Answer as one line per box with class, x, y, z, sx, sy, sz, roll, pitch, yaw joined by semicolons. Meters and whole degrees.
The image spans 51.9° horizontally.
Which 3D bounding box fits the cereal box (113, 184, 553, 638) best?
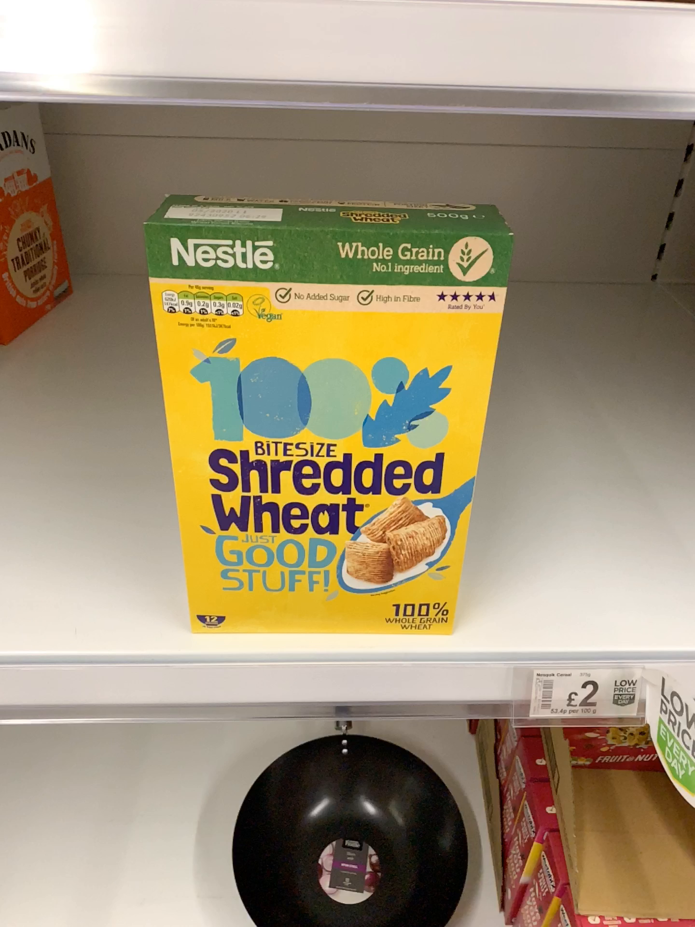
cereal box;-0.011;-0.017;0.445;0.210;0.277;0.071;1;33;-2
